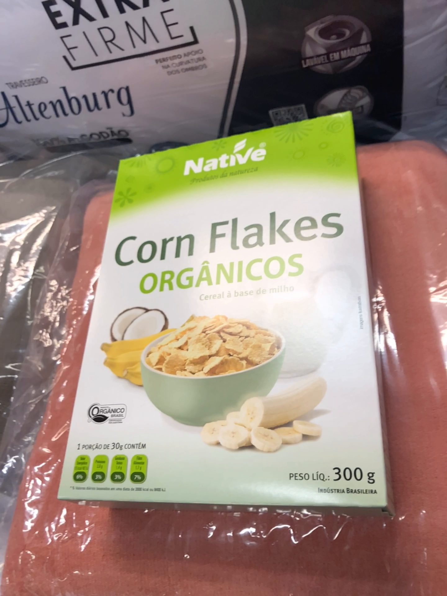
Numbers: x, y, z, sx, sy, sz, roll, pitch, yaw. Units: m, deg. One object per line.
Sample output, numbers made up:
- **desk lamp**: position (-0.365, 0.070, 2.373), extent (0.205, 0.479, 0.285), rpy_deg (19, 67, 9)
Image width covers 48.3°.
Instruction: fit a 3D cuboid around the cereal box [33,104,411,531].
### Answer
- **cereal box**: position (0.004, 0.006, 0.308), extent (0.180, 0.060, 0.241), rpy_deg (-5, 61, 16)
